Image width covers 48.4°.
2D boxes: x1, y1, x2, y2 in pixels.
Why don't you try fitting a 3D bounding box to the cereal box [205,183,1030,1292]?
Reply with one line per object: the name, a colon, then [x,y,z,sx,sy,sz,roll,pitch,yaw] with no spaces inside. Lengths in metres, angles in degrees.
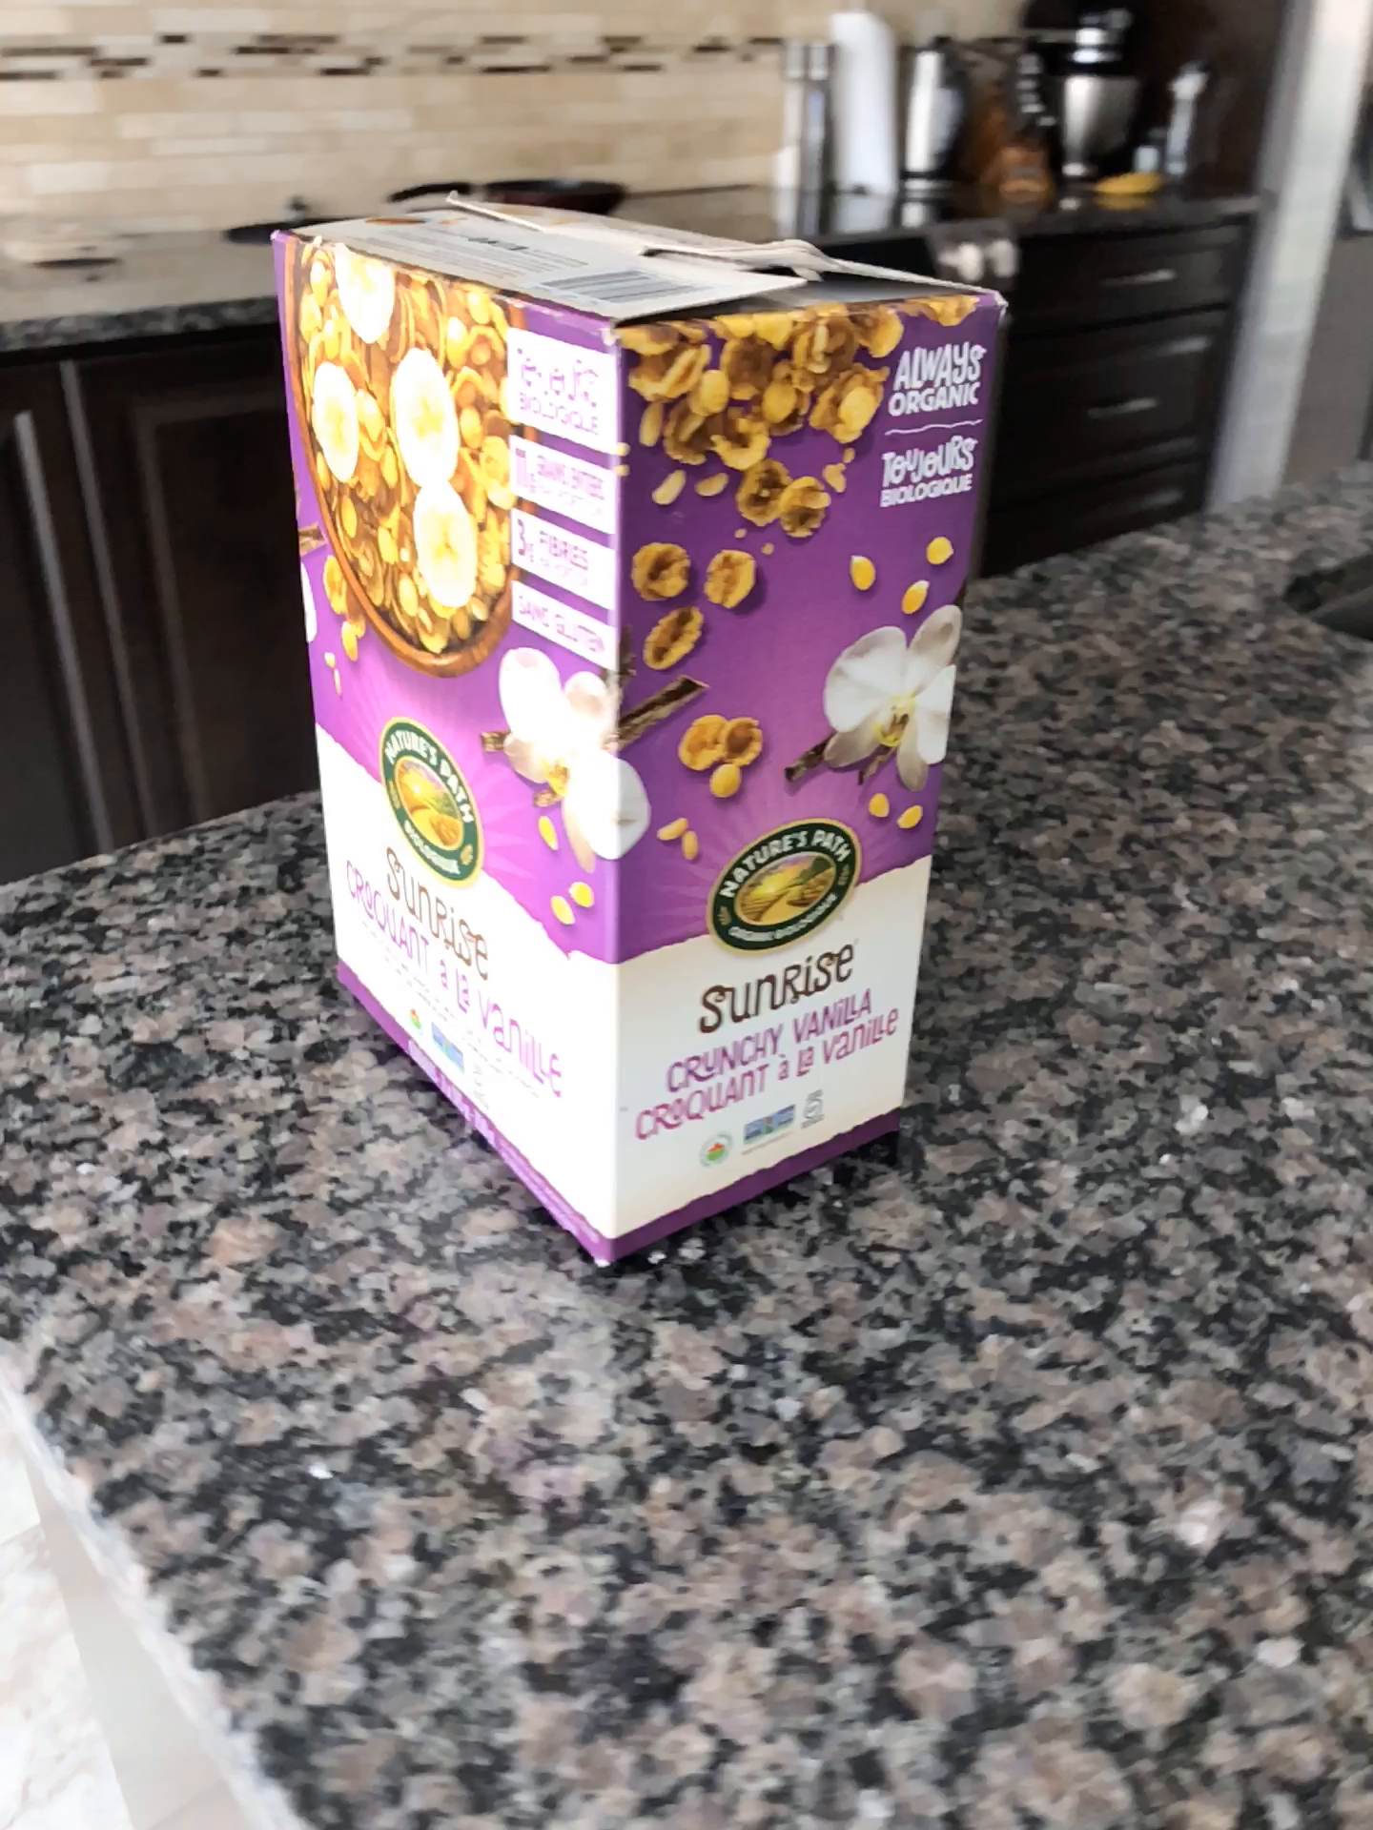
cereal box: [-0.027,-0.060,0.409,0.110,0.229,0.181,-19,35,-30]
